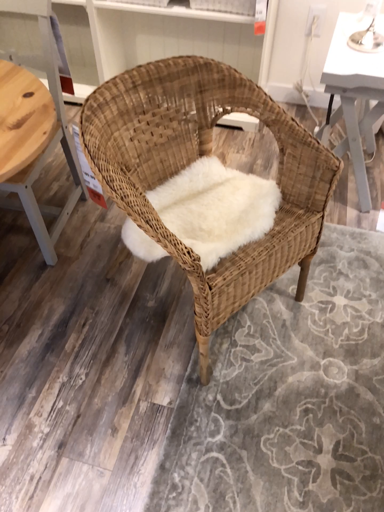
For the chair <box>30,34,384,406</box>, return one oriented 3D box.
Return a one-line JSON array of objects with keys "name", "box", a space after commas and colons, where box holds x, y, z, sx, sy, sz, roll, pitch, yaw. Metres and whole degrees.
[{"name": "chair", "box": [0.048, -0.127, 1.303, 0.651, 0.717, 0.631, -32, 56, -26]}]
